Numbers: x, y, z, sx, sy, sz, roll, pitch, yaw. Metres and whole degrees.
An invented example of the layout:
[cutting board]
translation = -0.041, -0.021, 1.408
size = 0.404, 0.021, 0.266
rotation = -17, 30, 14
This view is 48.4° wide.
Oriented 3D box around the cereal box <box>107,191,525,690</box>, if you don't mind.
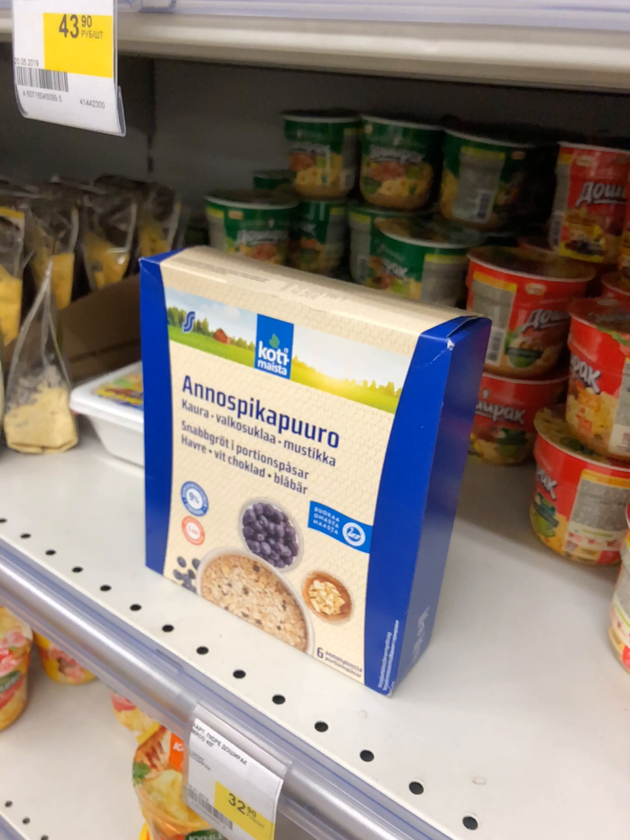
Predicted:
[cereal box]
translation = -0.012, 0.002, 0.322
size = 0.170, 0.179, 0.050
rotation = 19, 29, 29
